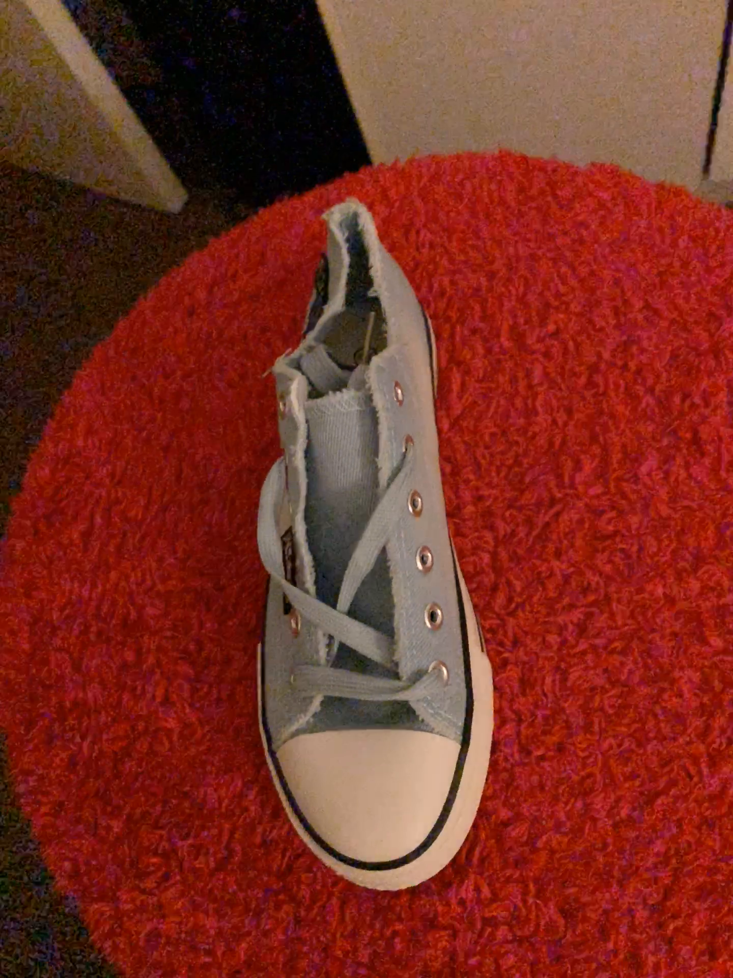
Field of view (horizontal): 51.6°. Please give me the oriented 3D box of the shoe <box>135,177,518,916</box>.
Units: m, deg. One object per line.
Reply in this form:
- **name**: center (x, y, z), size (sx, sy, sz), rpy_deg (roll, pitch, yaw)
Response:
- **shoe**: center (-0.007, 0.015, 0.291), size (0.097, 0.087, 0.251), rpy_deg (-7, 64, 14)
